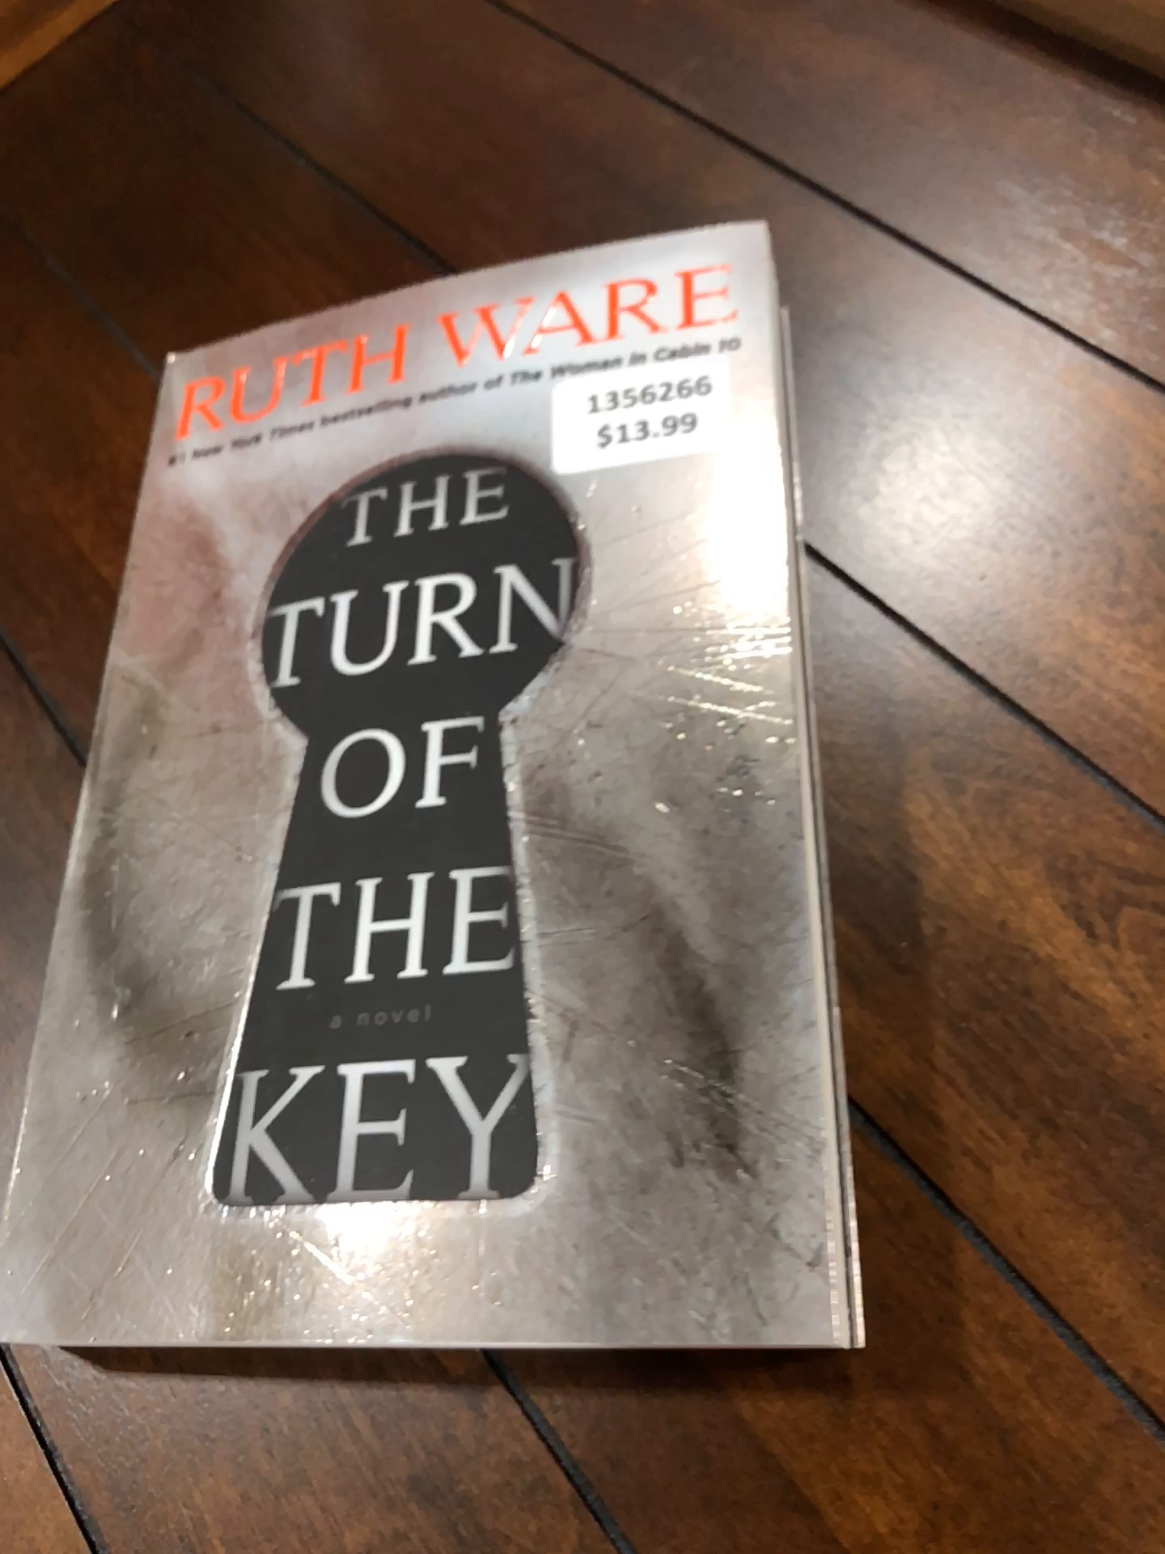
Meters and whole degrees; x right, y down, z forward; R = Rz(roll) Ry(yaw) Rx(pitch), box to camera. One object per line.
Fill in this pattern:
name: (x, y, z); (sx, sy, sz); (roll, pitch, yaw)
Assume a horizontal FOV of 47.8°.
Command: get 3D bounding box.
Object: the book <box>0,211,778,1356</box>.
book: (-0.046, -0.007, 0.275); (0.158, 0.028, 0.233); (-6, 64, 14)
